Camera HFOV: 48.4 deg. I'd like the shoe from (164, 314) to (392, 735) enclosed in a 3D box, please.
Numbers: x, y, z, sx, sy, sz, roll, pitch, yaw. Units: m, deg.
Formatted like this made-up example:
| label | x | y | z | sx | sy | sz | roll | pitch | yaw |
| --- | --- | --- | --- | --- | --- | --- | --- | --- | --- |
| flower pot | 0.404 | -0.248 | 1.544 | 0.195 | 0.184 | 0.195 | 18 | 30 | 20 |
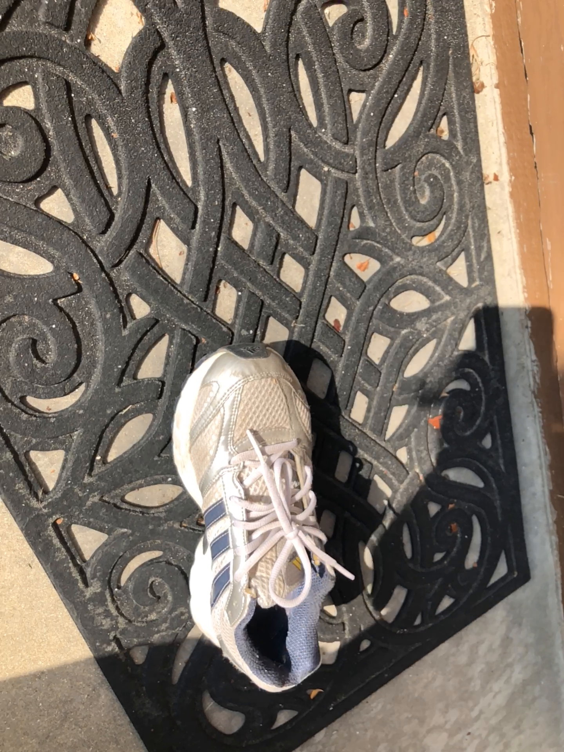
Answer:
| label | x | y | z | sx | sy | sz | roll | pitch | yaw |
| --- | --- | --- | --- | --- | --- | --- | --- | --- | --- |
| shoe | -0.009 | 0.098 | 0.471 | 0.110 | 0.129 | 0.261 | -9 | 110 | -26 |
